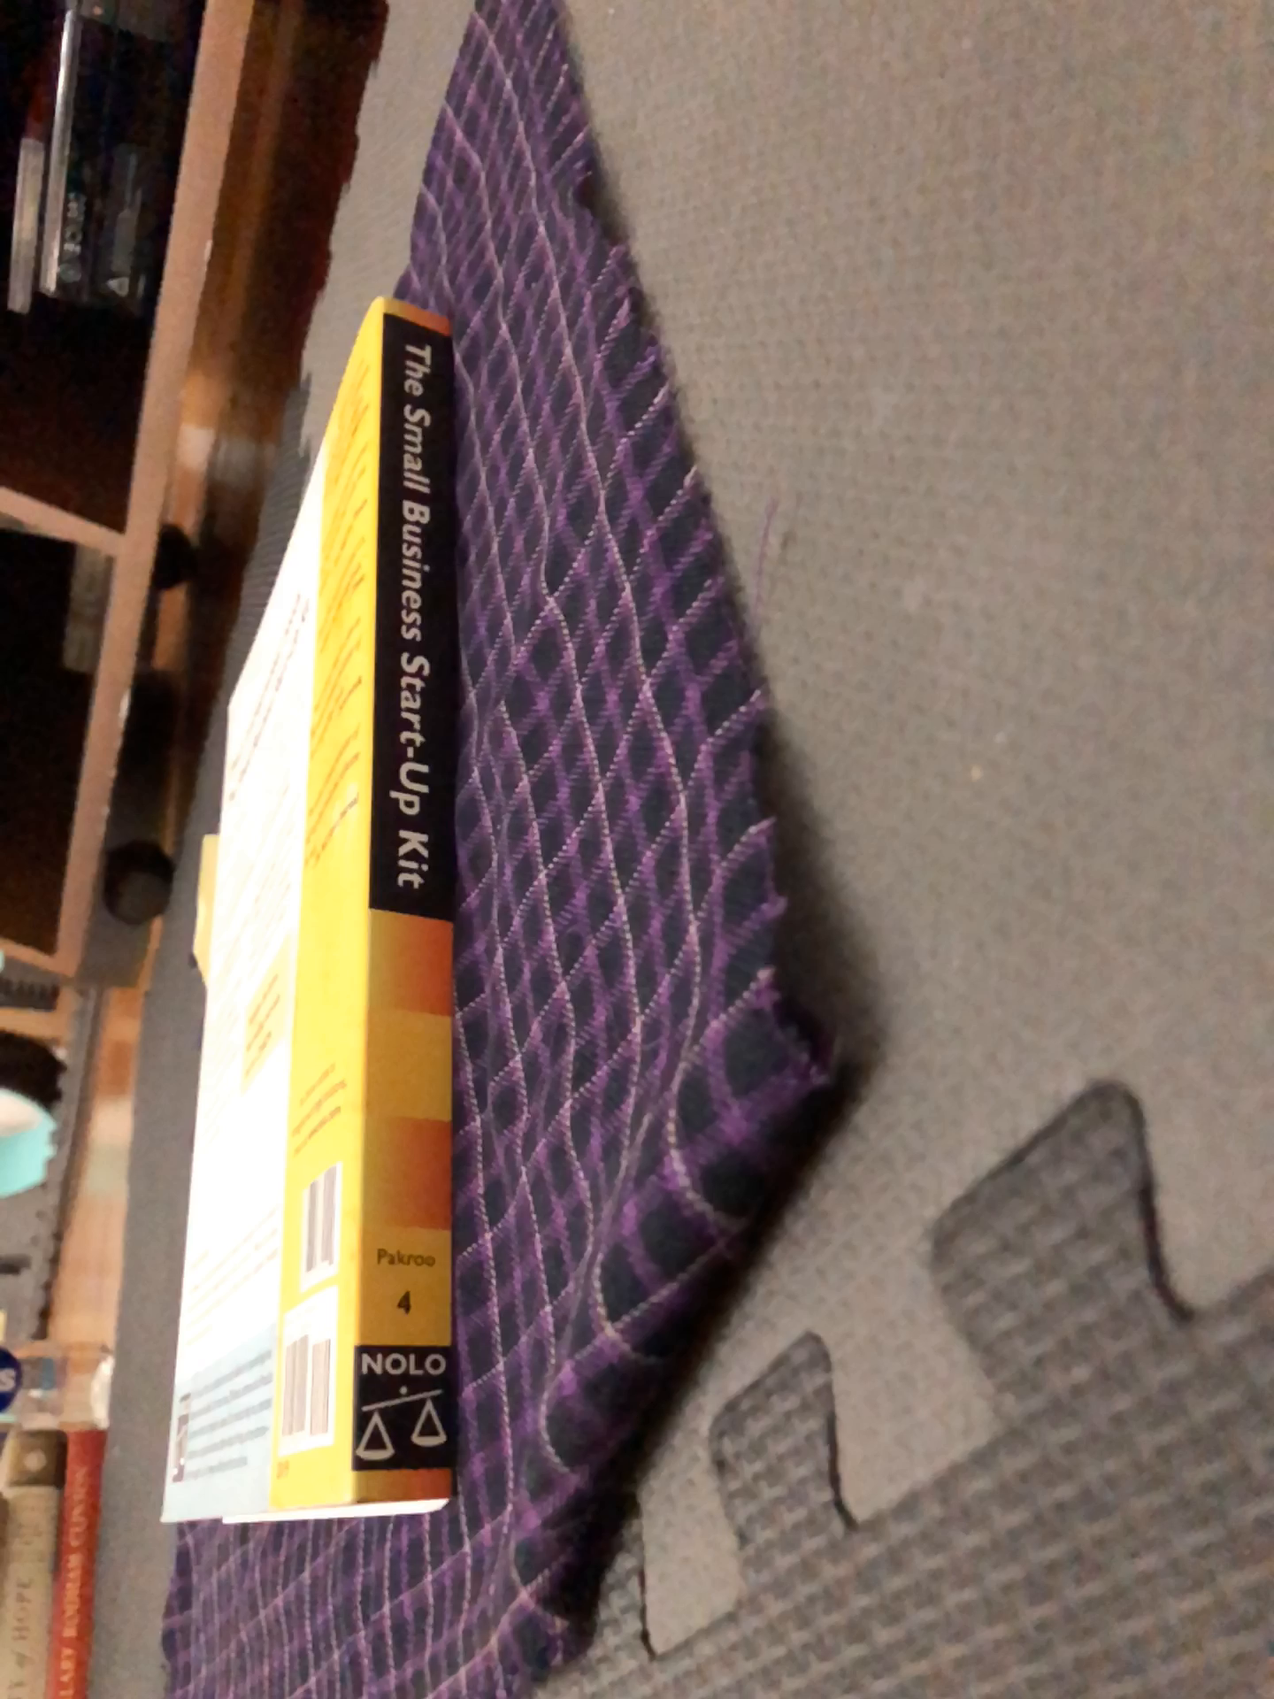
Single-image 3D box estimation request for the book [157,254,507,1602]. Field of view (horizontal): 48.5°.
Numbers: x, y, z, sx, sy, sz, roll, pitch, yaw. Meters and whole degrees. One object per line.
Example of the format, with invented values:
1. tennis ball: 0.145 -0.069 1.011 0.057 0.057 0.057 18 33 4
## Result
1. book: -0.090 0.033 0.404 0.231 0.030 0.310 136 137 -55
